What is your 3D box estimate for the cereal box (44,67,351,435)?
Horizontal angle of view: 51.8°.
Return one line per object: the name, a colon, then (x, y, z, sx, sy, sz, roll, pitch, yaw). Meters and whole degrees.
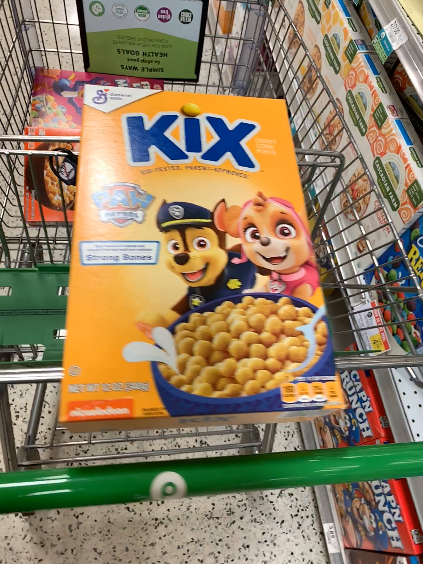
cereal box: (-0.021, -0.041, 0.398, 0.210, 0.079, 0.322, 0, 65, -10)
